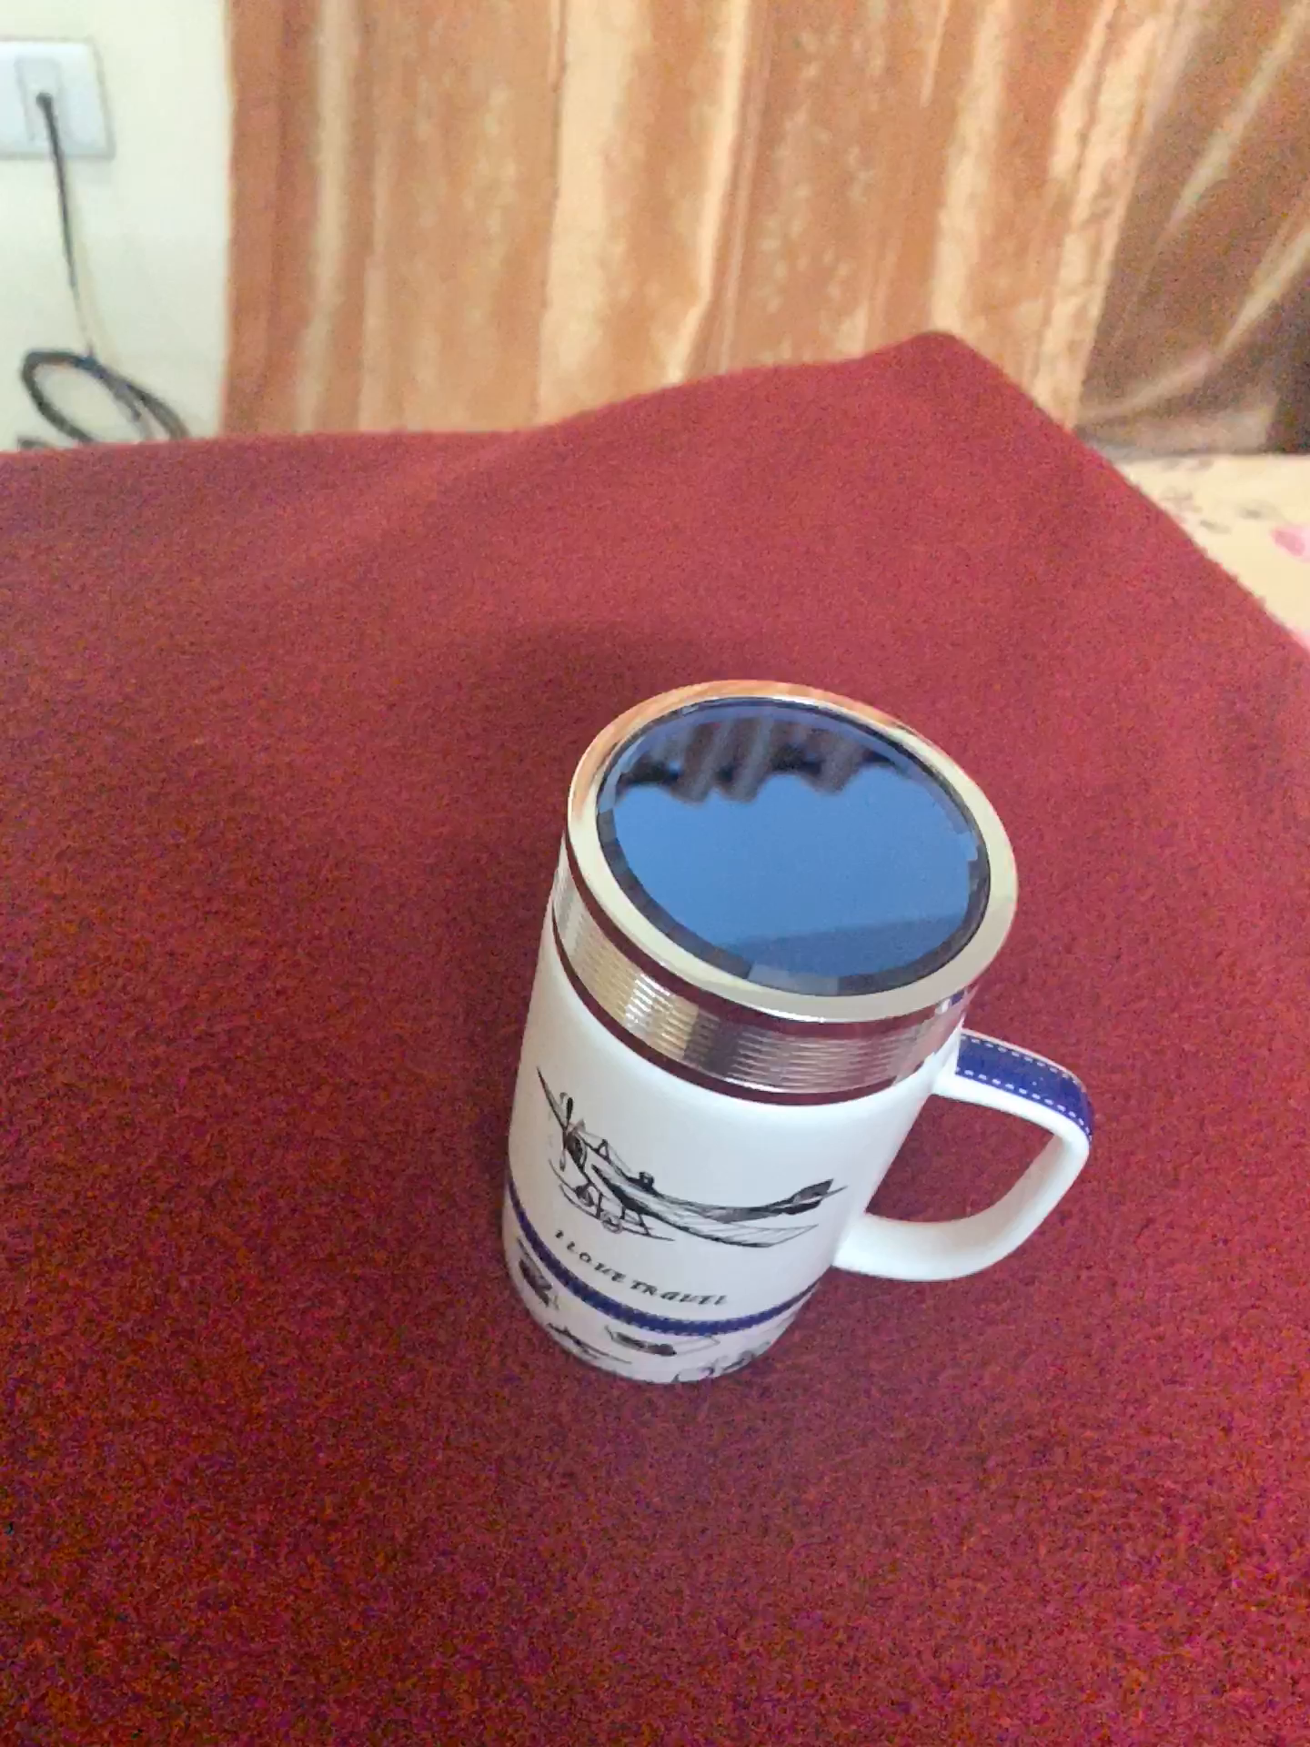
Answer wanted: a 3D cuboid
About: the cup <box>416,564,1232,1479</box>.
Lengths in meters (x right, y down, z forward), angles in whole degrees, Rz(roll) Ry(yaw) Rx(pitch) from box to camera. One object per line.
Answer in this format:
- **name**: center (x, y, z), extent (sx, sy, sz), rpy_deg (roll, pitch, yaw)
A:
- **cup**: center (0.026, 0.036, 0.278), extent (0.120, 0.139, 0.091), rpy_deg (18, 48, 5)
